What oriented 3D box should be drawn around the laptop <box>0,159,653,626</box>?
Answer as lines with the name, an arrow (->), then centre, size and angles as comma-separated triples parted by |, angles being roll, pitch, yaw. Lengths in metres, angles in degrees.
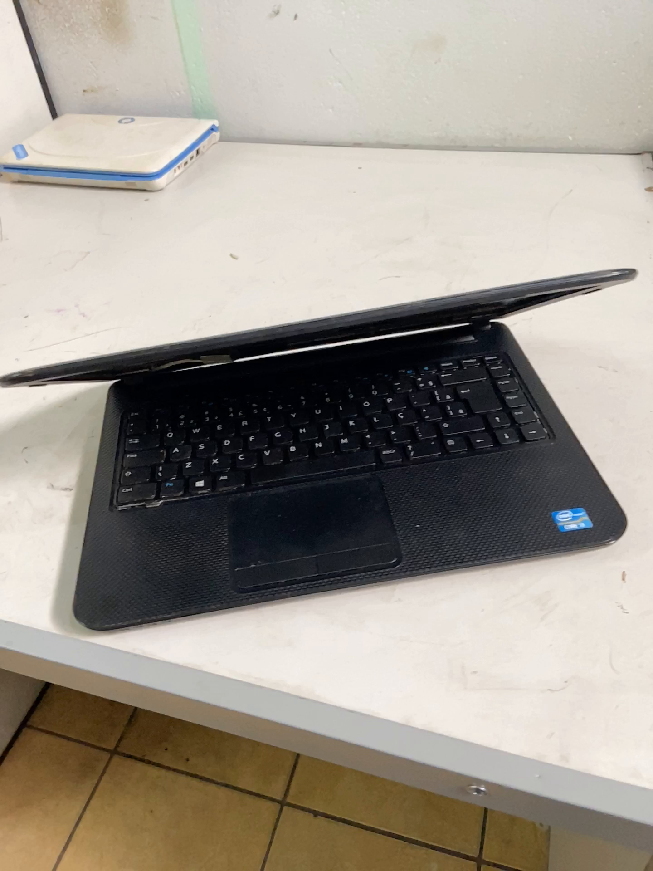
laptop -> -0.005, -0.044, 0.434 | 0.330, 0.141, 0.231 | -9, 42, -3
